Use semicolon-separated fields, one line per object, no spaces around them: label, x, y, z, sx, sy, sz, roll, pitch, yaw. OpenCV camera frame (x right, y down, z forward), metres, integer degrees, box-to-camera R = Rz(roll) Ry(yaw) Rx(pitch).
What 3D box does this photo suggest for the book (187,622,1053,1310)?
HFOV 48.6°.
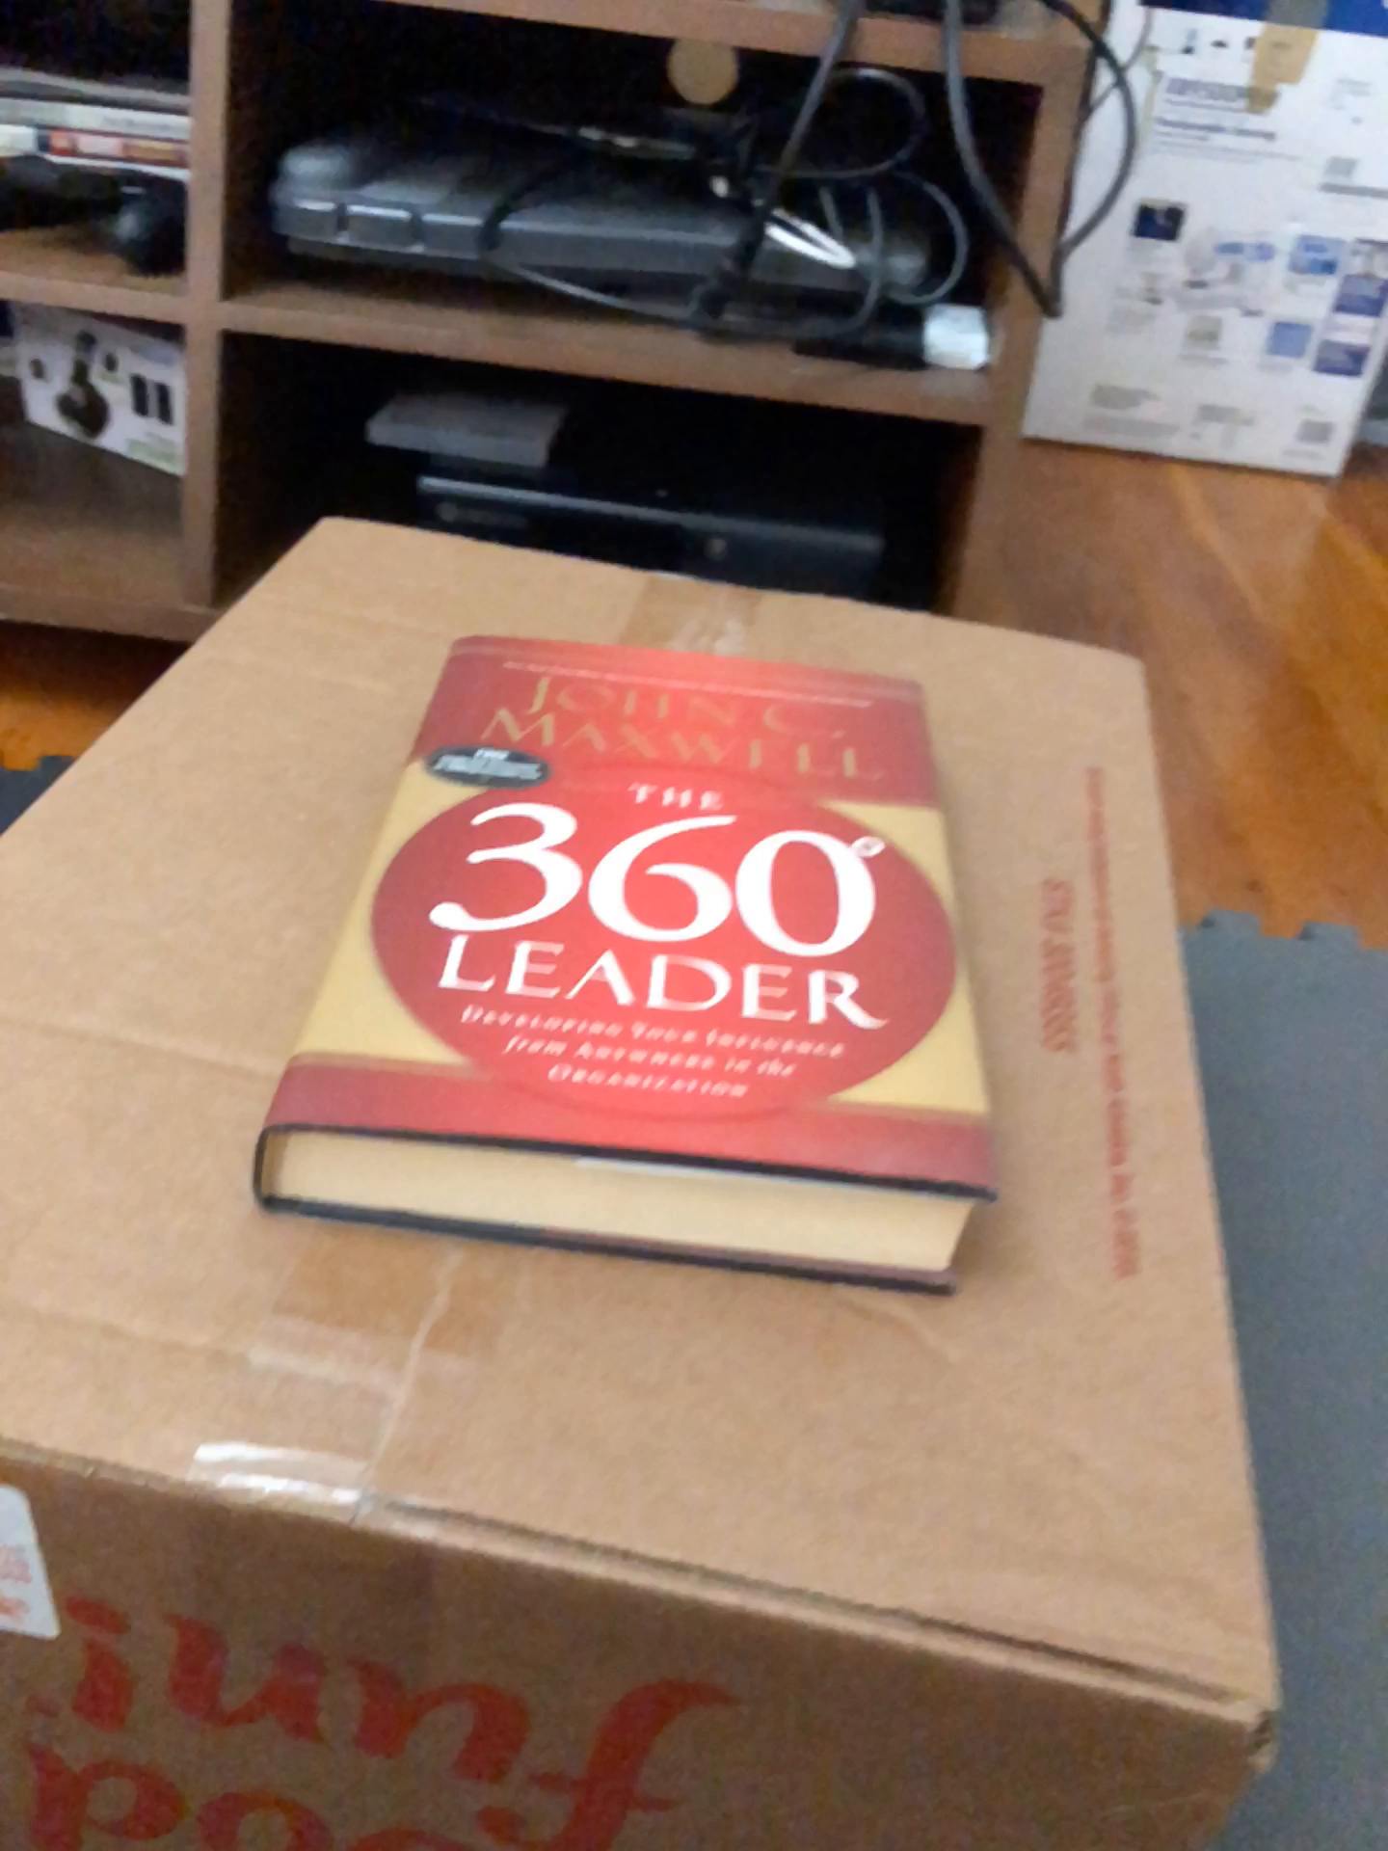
book;-0.008;-0.009;0.424;0.180;0.030;0.242;7;36;0
